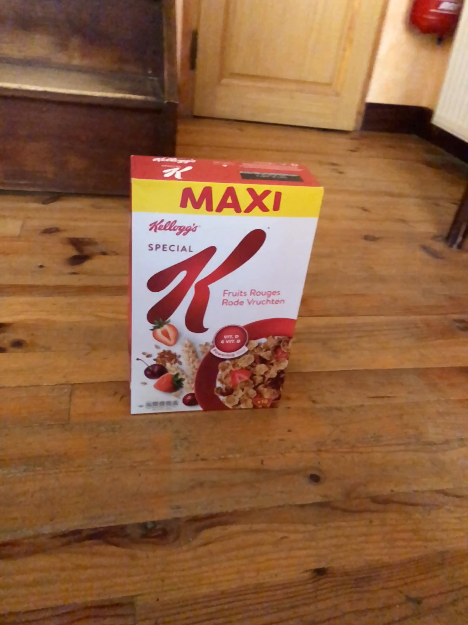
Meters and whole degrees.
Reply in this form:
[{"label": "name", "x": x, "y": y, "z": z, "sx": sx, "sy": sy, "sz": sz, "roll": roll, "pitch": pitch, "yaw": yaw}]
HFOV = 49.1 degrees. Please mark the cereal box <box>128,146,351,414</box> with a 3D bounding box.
[{"label": "cereal box", "x": -0.013, "y": -0.026, "z": 0.592, "sx": 0.210, "sy": 0.288, "sz": 0.090, "roll": 0, "pitch": 34, "yaw": -13}]
